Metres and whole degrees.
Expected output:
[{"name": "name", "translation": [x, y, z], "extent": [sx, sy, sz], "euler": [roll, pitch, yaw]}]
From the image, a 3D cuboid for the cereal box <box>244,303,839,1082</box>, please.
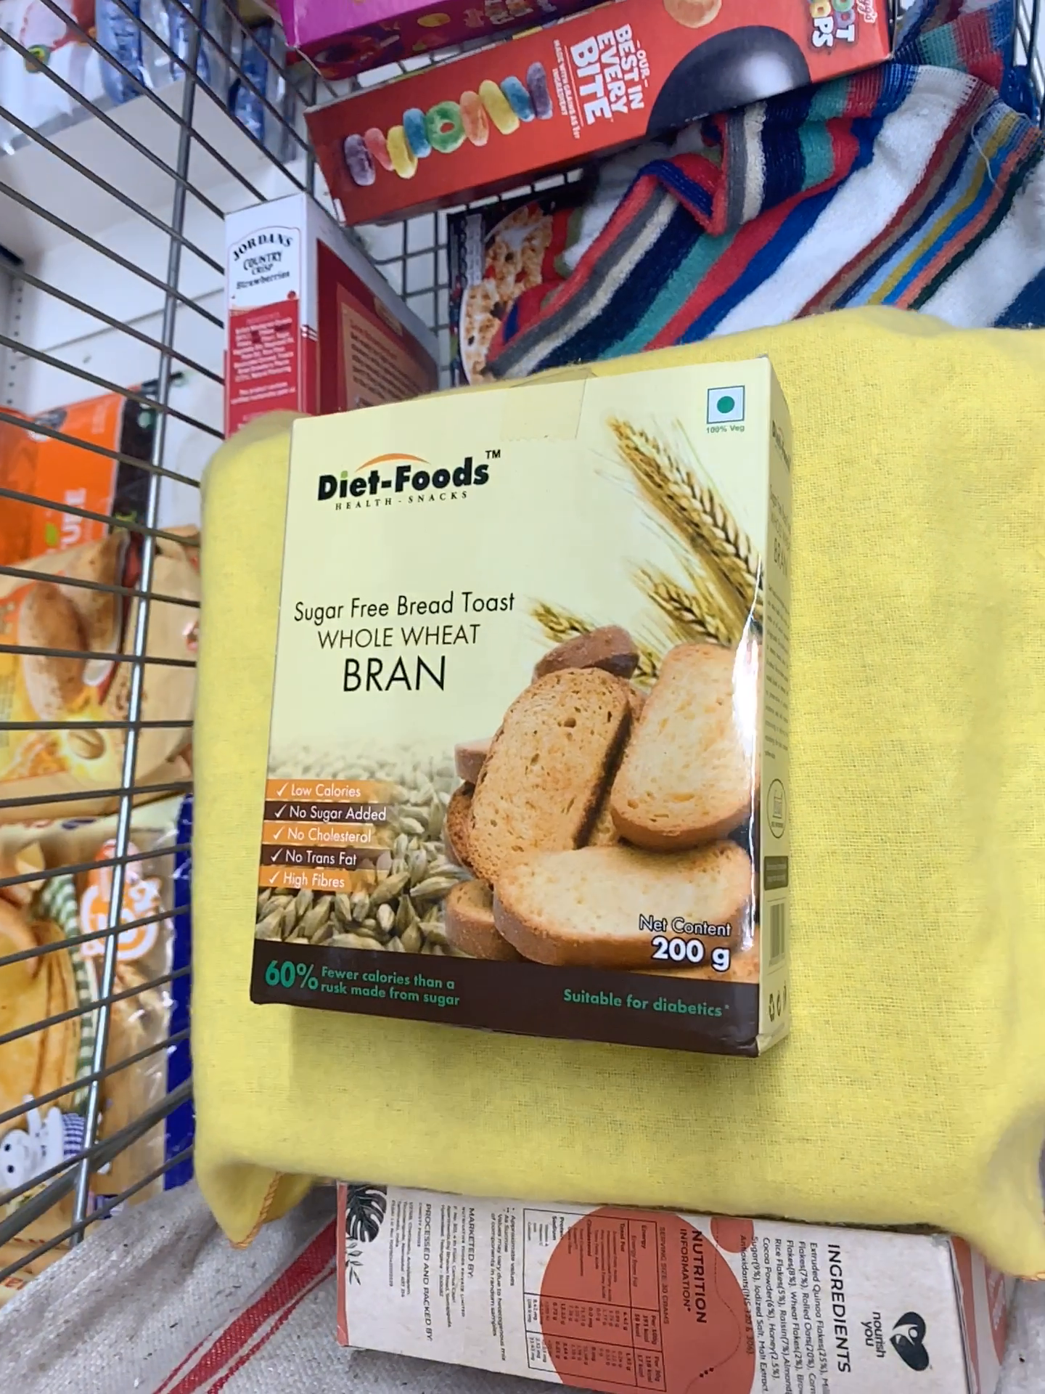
[{"name": "cereal box", "translation": [0.007, -0.001, 0.282], "extent": [0.140, 0.050, 0.170], "euler": [-1, 81, 23]}]
